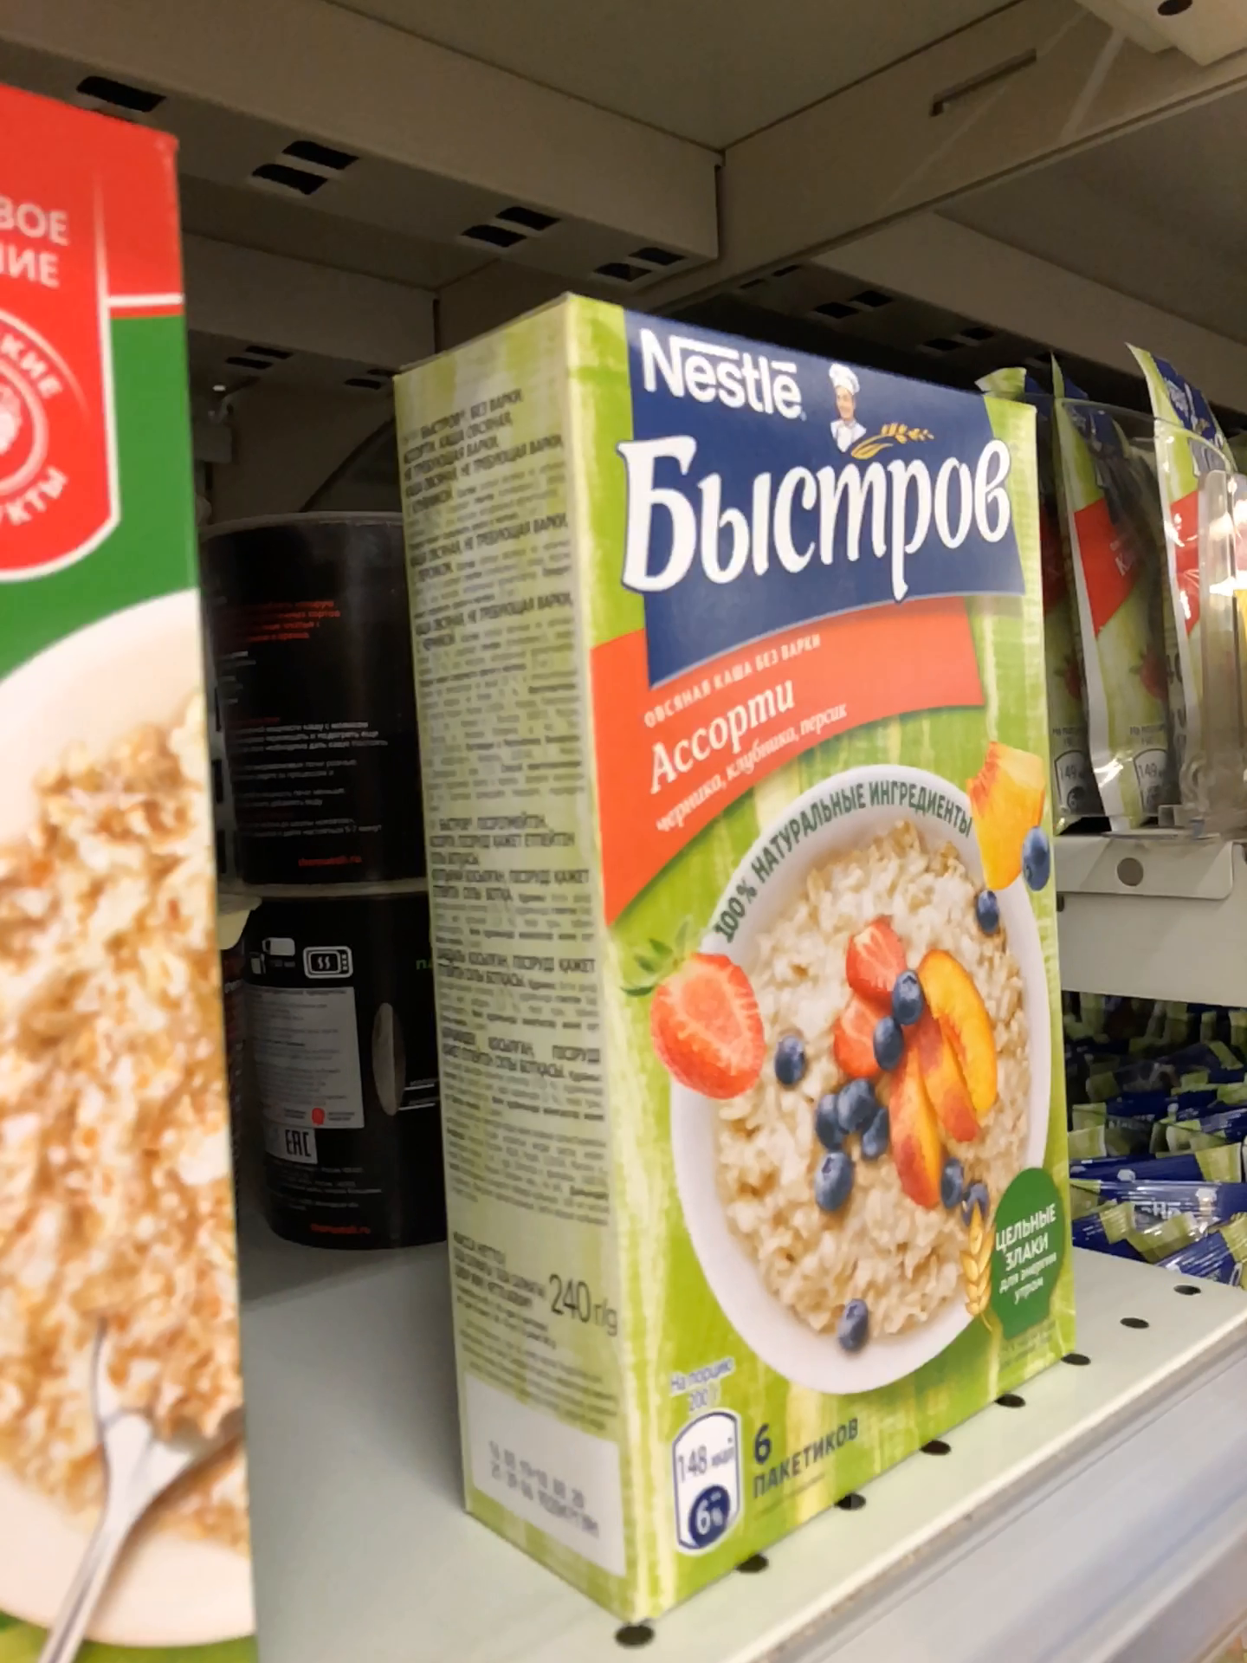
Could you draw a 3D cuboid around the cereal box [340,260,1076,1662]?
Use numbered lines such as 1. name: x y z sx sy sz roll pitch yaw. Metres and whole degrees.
1. cereal box: 0.023 0.016 0.256 0.130 0.200 0.050 -5 3 -42
